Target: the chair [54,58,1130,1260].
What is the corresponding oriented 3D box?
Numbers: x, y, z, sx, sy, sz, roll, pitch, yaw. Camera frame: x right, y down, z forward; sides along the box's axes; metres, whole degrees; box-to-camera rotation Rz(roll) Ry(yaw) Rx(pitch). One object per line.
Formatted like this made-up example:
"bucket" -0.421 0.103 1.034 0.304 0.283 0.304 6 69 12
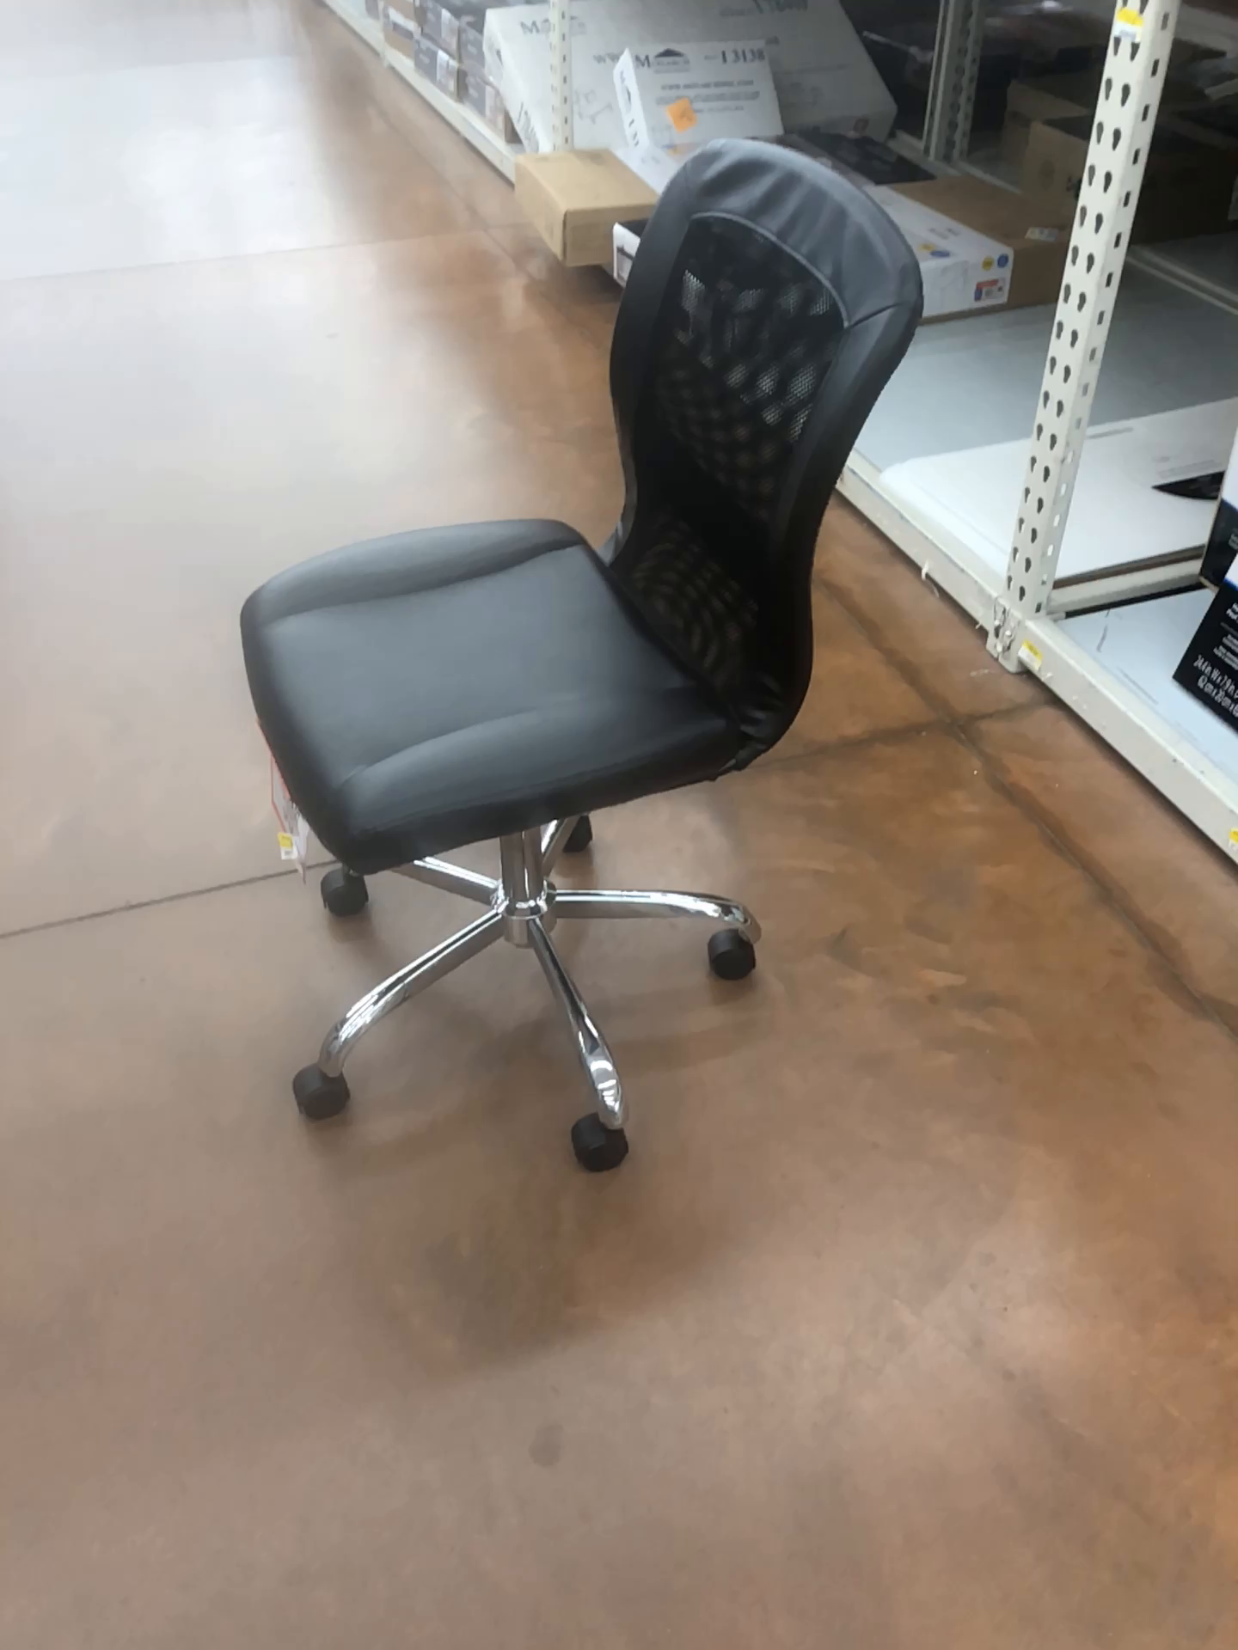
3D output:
"chair" -0.081 -0.195 1.323 0.650 0.817 0.682 -14 41 -15
